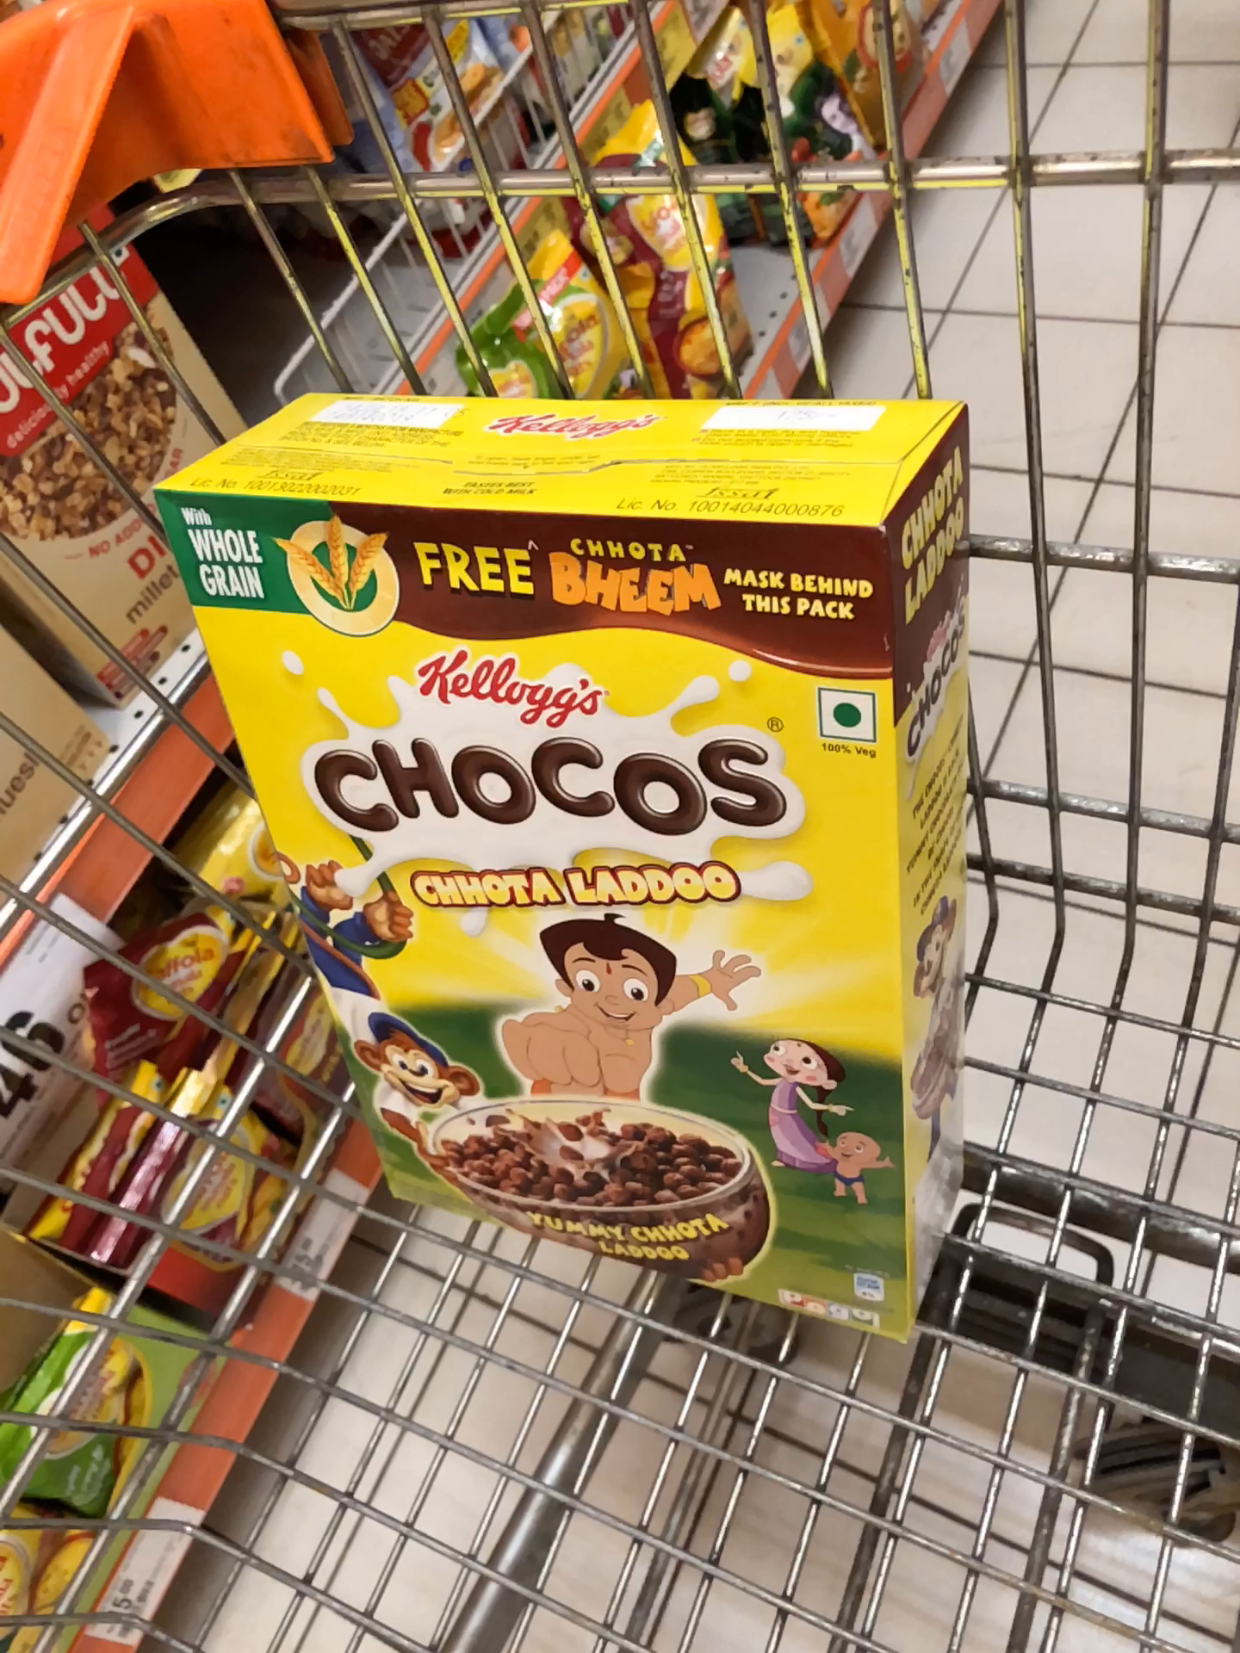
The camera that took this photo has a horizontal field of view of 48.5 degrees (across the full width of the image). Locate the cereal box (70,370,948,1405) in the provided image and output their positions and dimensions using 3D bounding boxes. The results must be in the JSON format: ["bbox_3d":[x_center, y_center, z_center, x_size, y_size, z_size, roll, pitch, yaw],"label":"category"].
[{"bbox_3d":[-0.012,0.016,0.369,0.180,0.249,0.080,8,35,25],"label":"cereal box"}]
